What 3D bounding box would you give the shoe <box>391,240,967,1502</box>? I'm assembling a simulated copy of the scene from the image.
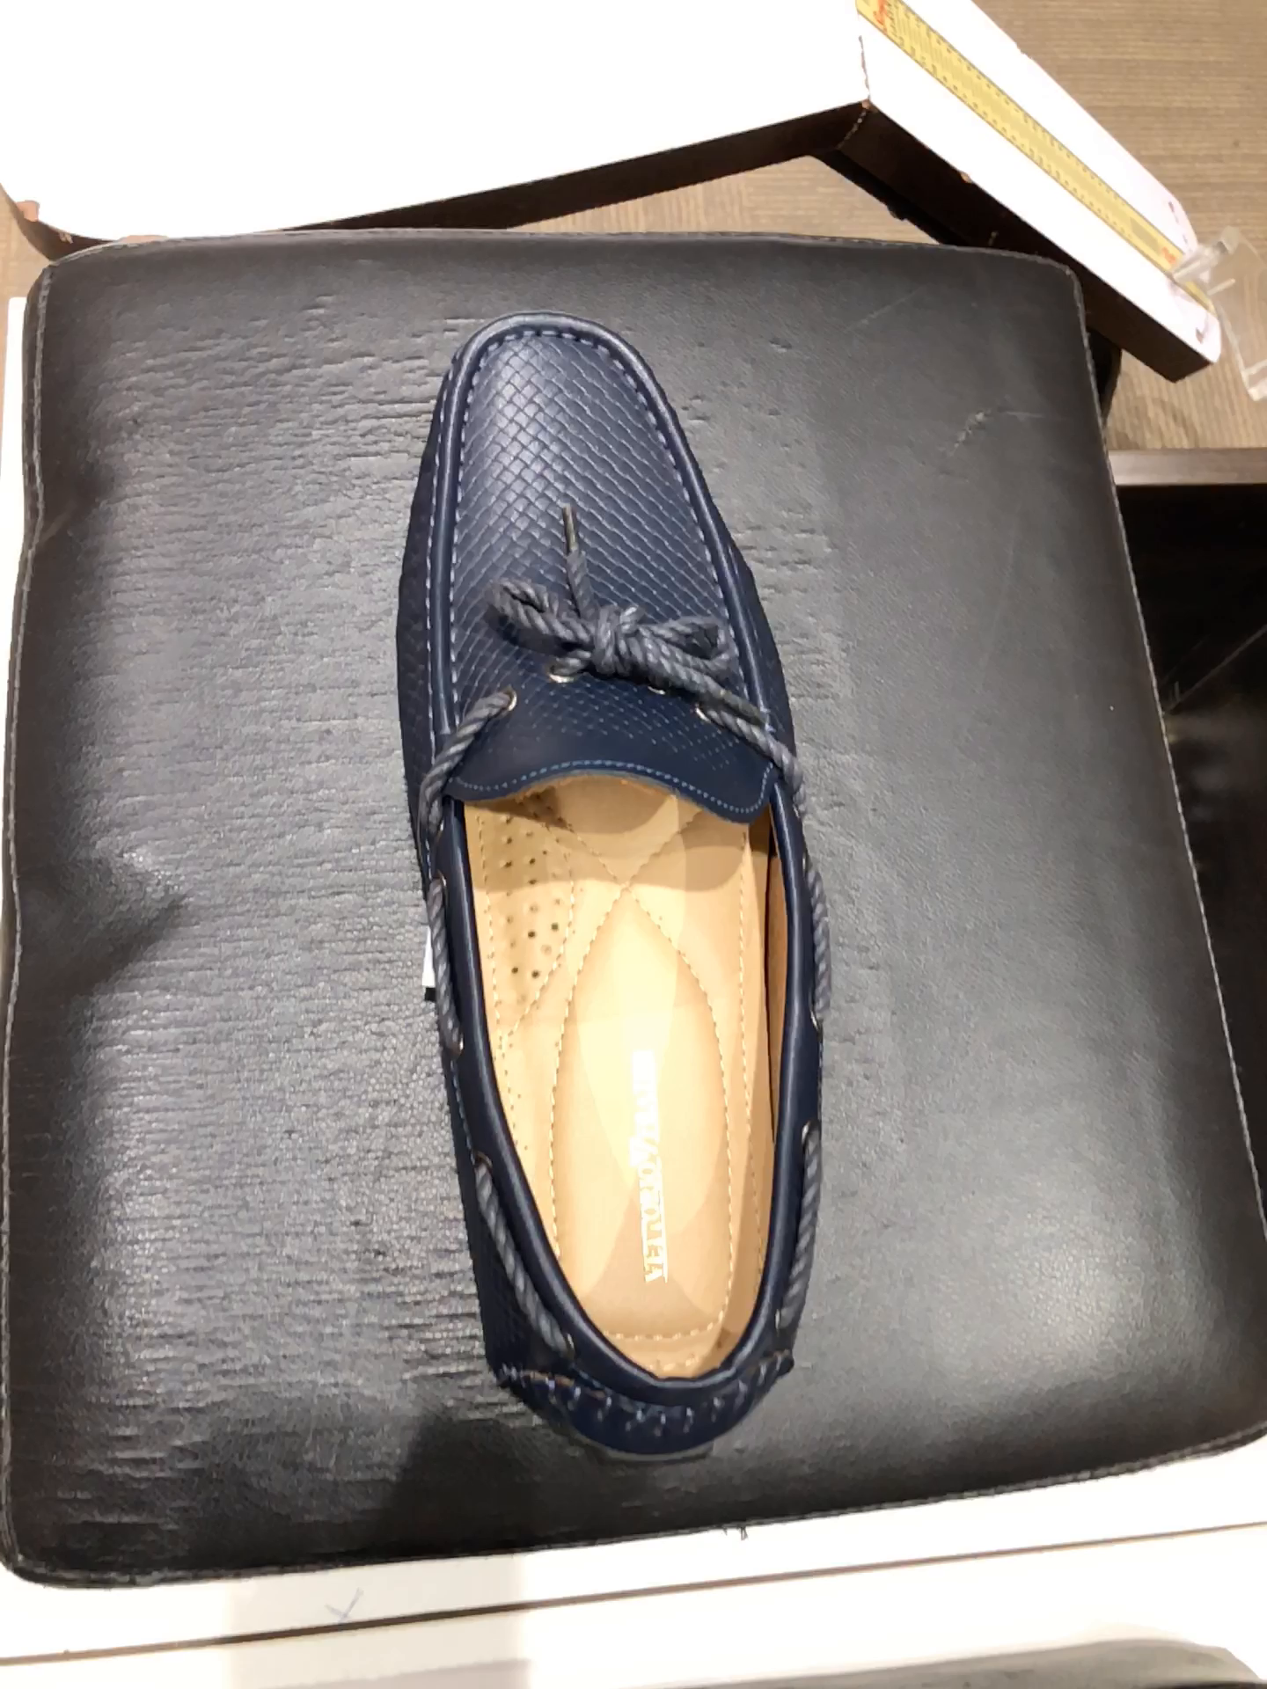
[{"bbox_3d":[0.000,-0.003,0.333,0.100,0.080,0.270,-3,74,-6],"label":"shoe"}]
